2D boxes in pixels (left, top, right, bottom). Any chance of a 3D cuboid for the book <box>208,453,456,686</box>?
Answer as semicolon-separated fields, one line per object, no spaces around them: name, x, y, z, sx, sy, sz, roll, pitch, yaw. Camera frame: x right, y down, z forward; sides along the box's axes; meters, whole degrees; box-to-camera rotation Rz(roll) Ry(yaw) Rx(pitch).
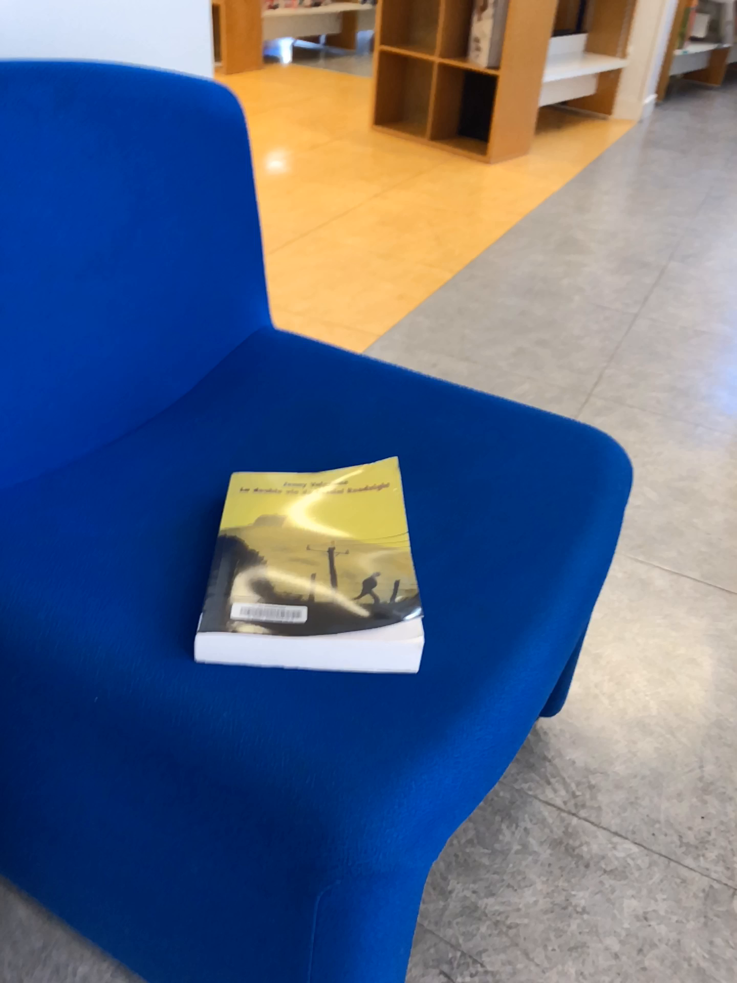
book;-0.026;0.044;0.575;0.145;0.040;0.216;2;31;-4
